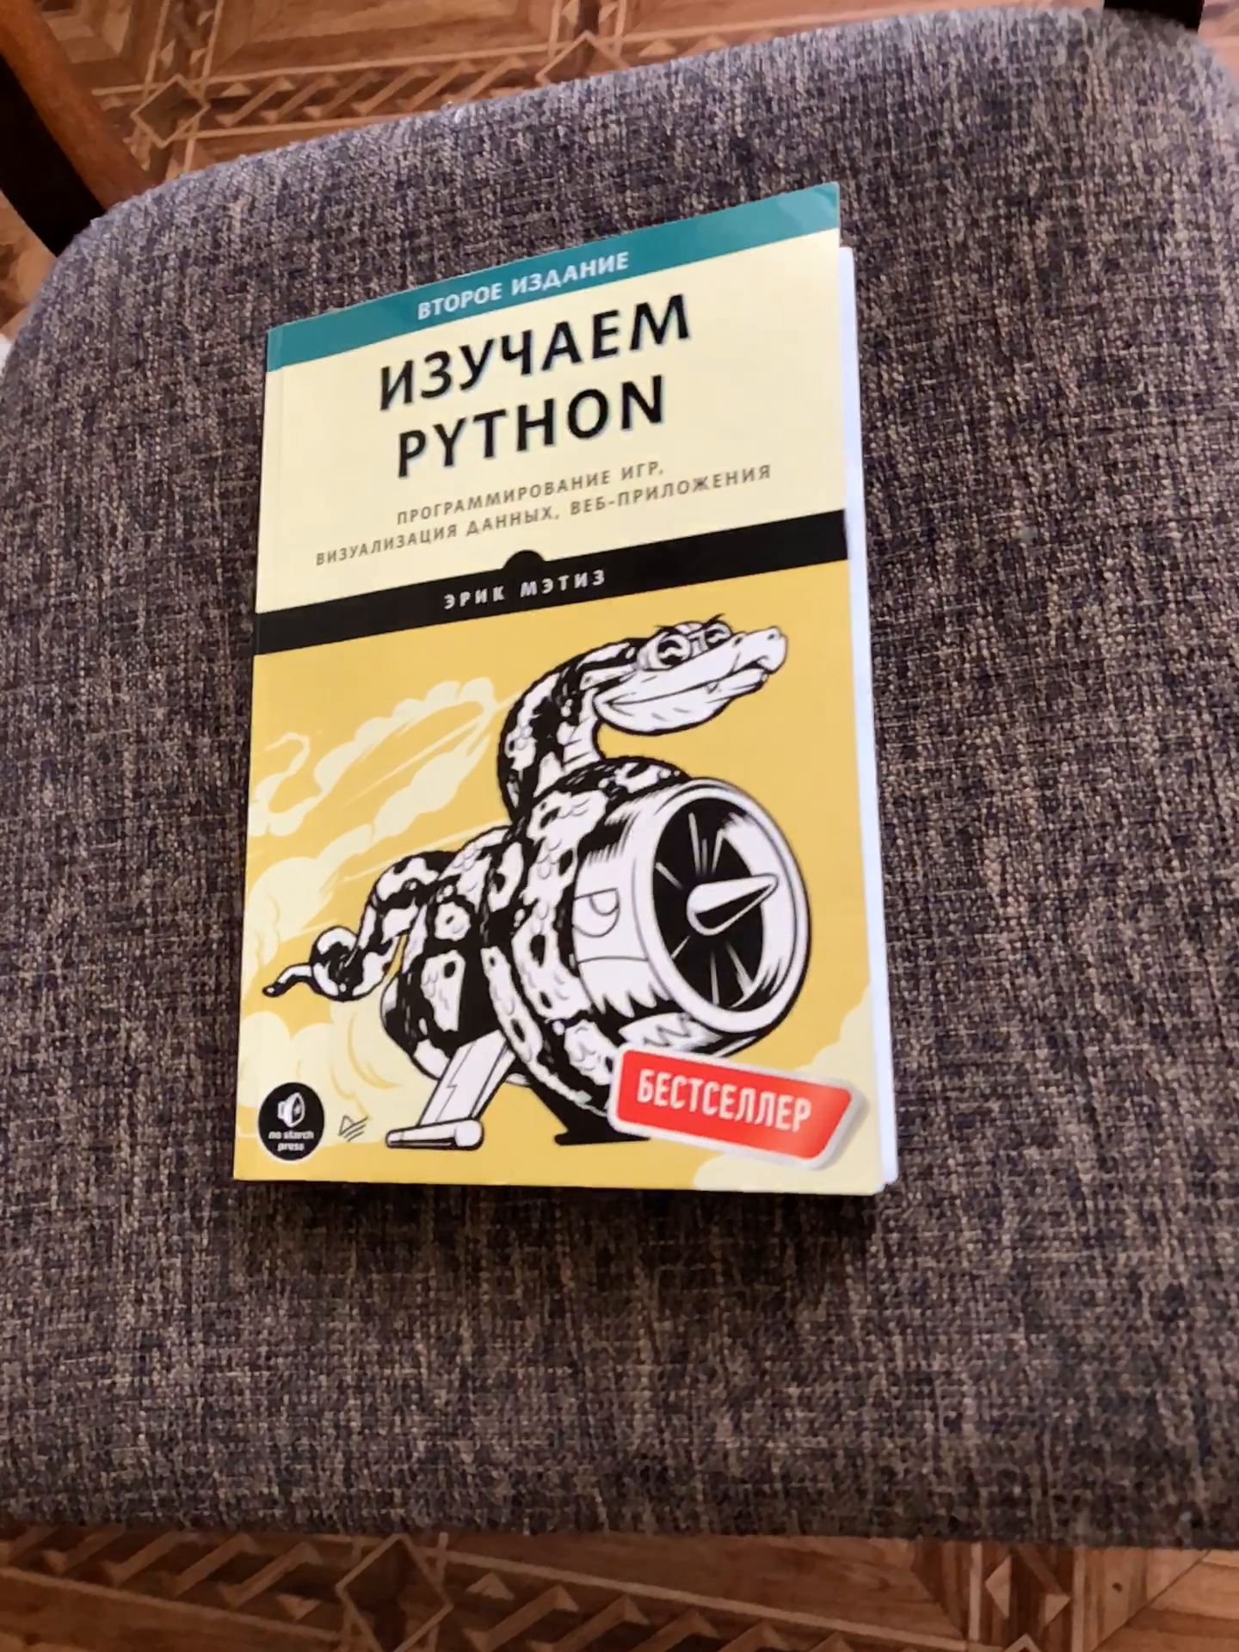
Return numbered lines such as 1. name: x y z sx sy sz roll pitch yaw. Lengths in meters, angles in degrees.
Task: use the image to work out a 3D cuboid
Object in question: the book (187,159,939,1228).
1. book: -0.015 -0.028 0.332 0.168 0.040 0.233 -4 76 22
